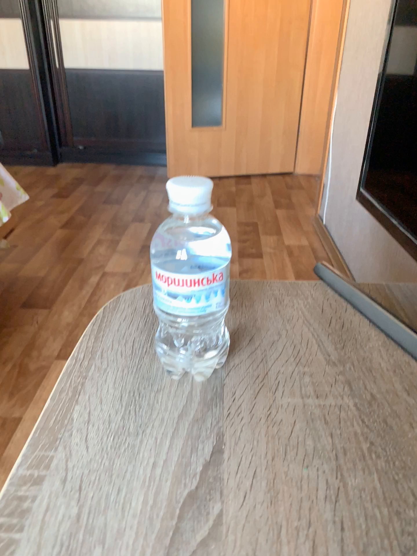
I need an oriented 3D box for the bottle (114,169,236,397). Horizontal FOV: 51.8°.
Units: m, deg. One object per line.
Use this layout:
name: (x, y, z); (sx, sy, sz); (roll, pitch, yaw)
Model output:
bottle: (-0.019, 0.004, 0.318); (0.070, 0.149, 0.070); (1, 28, 0)
